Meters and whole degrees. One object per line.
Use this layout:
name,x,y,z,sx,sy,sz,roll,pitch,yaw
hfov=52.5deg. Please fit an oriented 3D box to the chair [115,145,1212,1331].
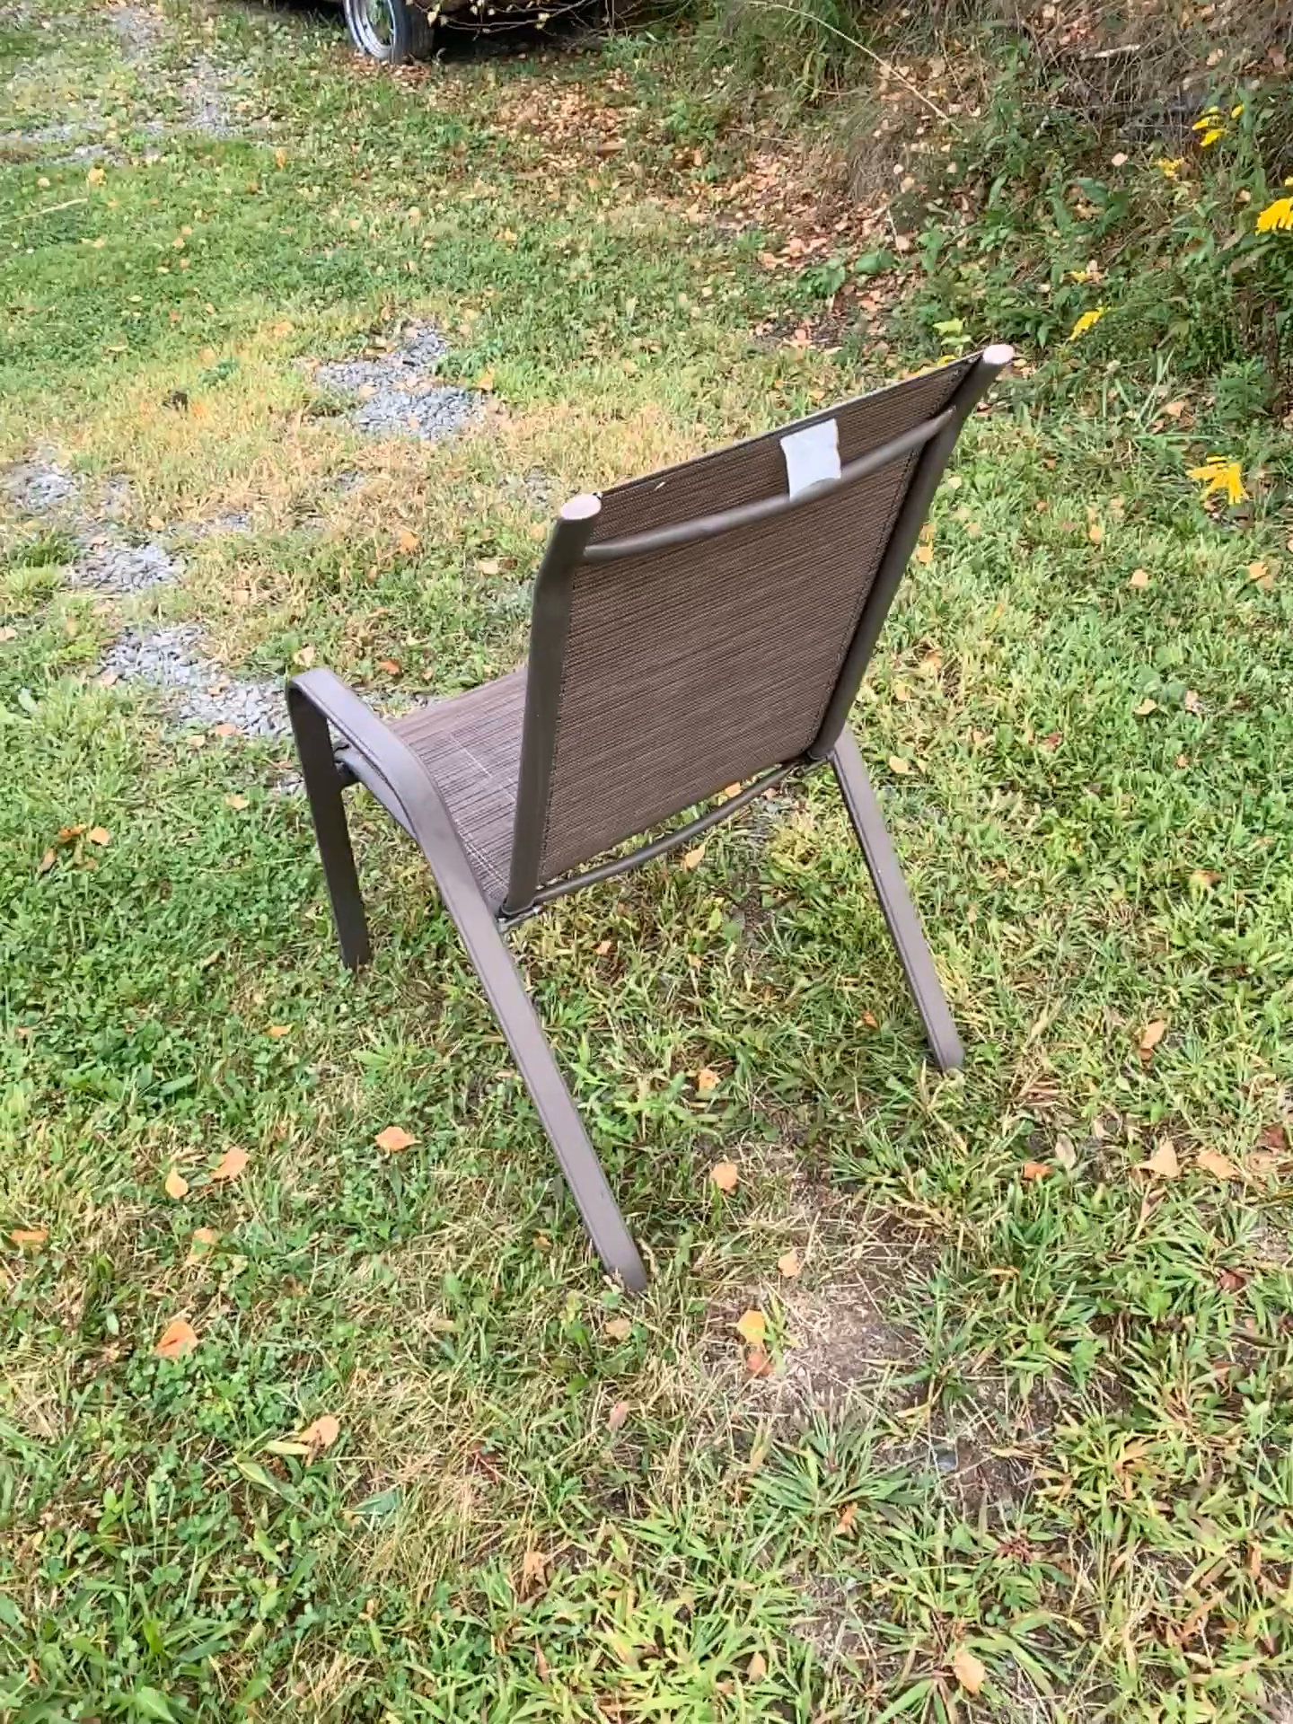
chair,-0.019,-0.162,1.425,0.621,0.875,0.743,-27,49,-27
